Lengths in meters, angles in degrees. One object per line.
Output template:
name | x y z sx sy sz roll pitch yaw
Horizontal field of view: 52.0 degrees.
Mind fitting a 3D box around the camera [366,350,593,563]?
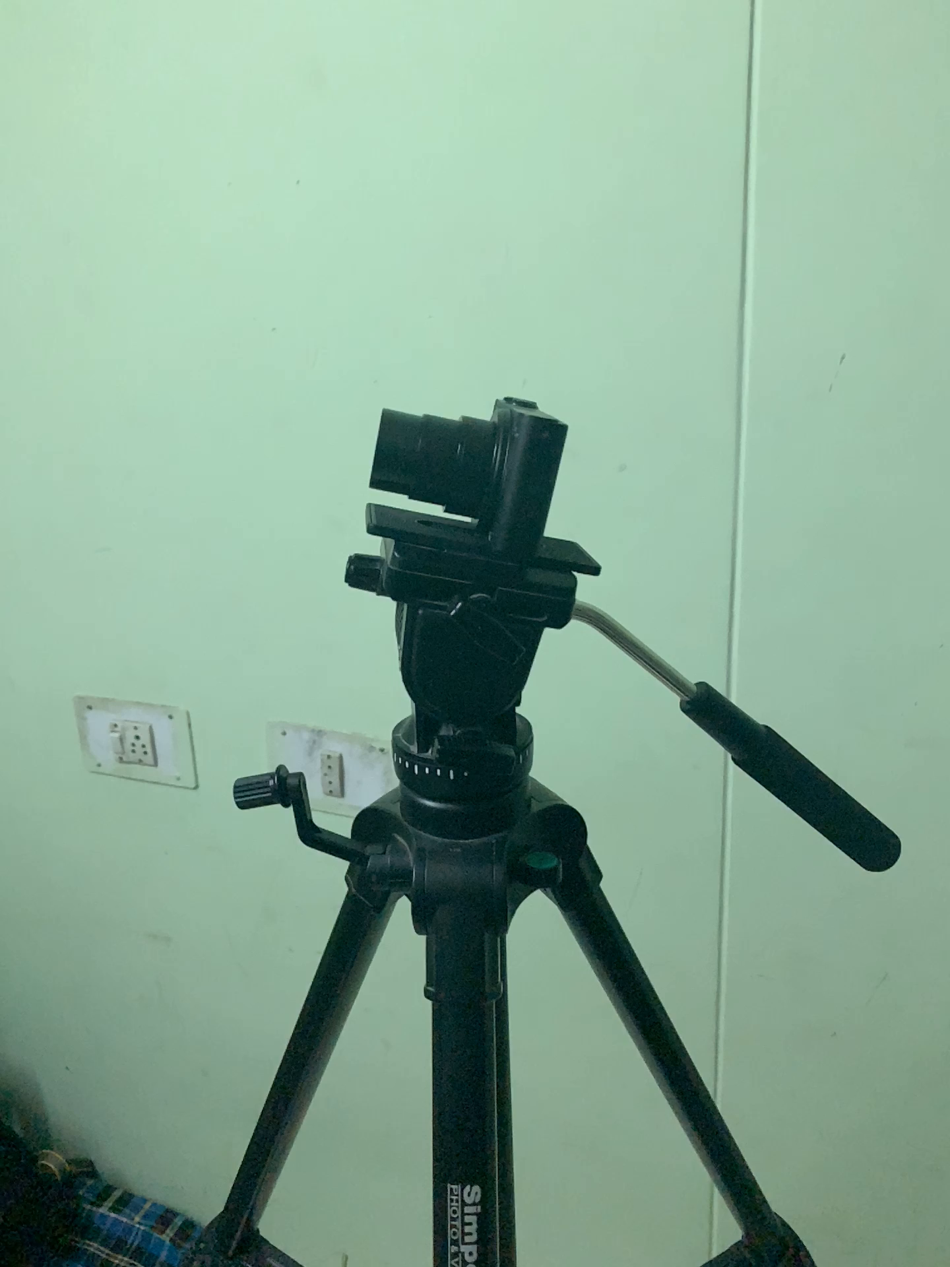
camera | -0.004 -0.077 0.400 0.067 0.060 0.102 13 15 -11
